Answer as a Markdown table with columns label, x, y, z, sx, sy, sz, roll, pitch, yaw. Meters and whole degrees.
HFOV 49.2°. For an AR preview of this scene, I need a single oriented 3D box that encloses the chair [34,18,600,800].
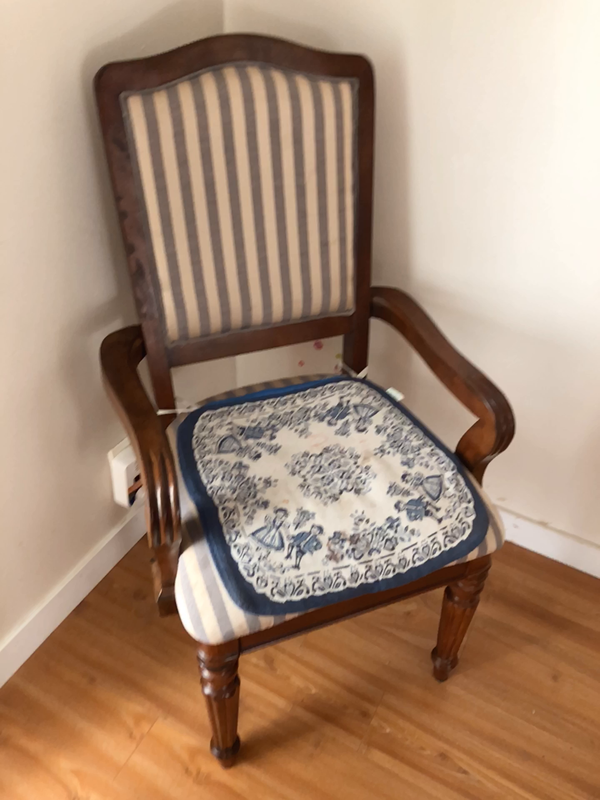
| label | x | y | z | sx | sy | sz | roll | pitch | yaw |
| --- | --- | --- | --- | --- | --- | --- | --- | --- | --- |
| chair | -0.001 | 0.040 | 1.064 | 0.530 | 1.043 | 0.584 | -15 | 42 | -19 |
